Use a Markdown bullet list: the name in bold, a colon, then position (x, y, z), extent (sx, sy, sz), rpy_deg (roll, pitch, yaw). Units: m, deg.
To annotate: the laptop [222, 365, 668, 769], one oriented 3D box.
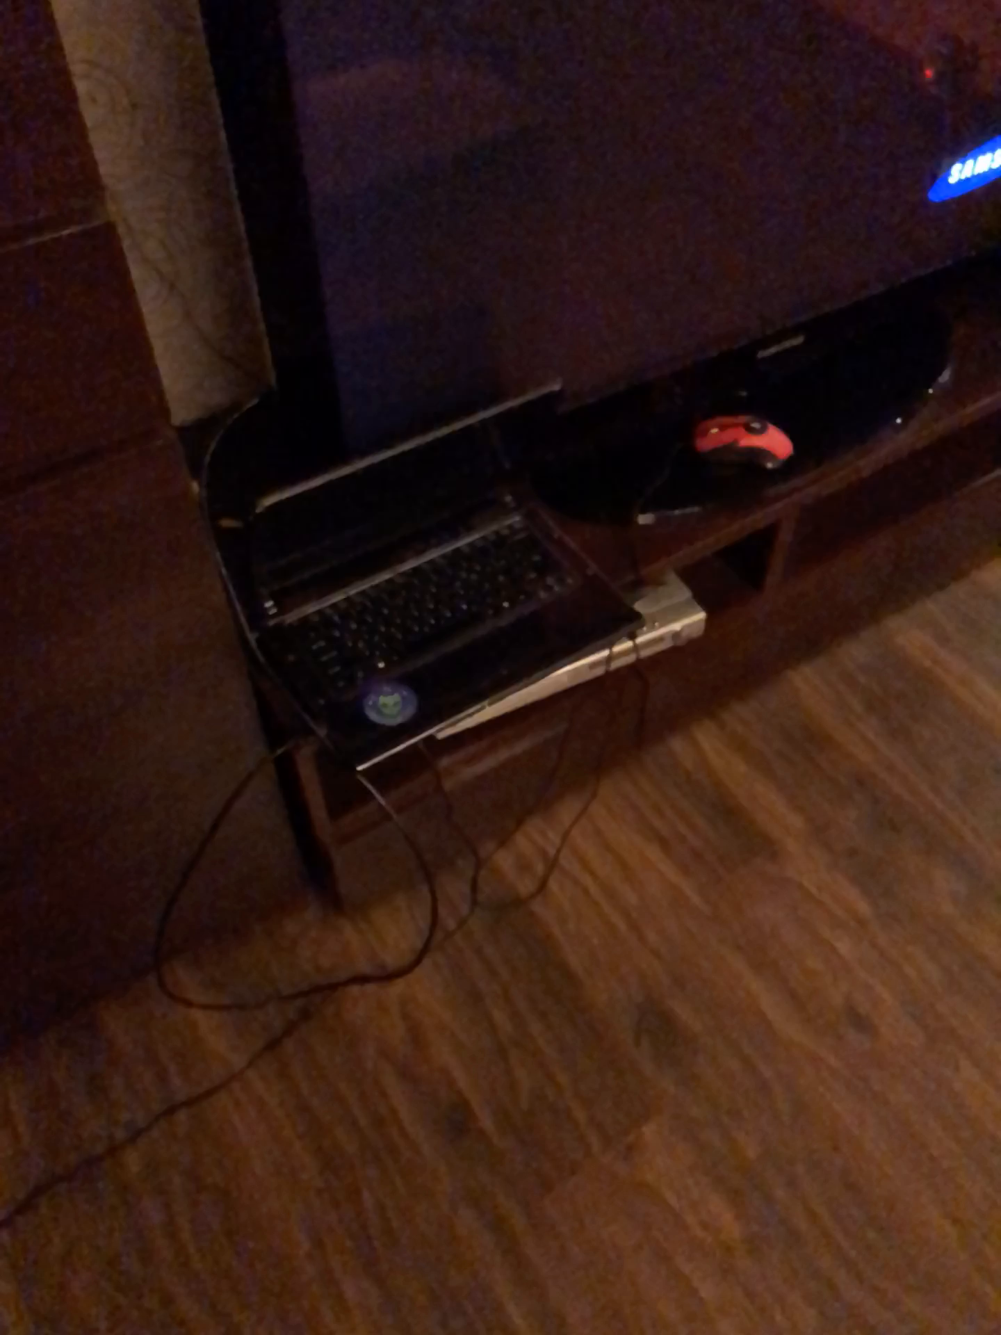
- **laptop**: position (-0.046, -0.103, 1.038), extent (0.336, 0.183, 0.200), rpy_deg (-27, 55, -22)
